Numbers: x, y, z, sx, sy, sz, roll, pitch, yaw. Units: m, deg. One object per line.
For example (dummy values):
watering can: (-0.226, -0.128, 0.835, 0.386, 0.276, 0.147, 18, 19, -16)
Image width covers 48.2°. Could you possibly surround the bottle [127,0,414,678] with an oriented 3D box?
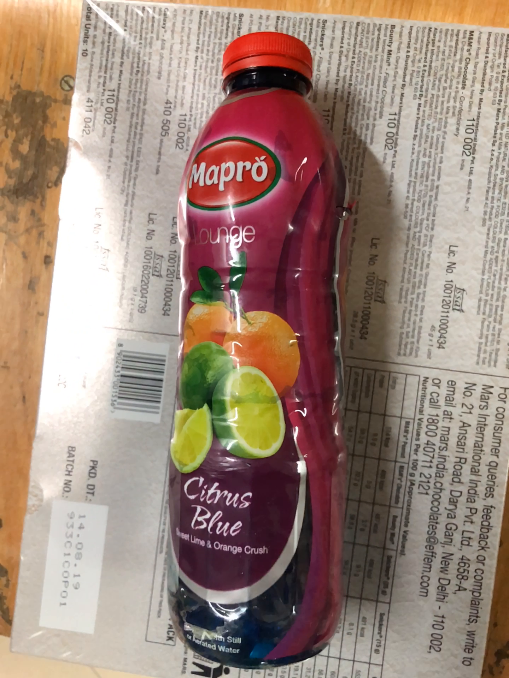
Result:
bottle: (0.008, -0.011, 0.244, 0.090, 0.080, 0.270, 3, 94, 28)
